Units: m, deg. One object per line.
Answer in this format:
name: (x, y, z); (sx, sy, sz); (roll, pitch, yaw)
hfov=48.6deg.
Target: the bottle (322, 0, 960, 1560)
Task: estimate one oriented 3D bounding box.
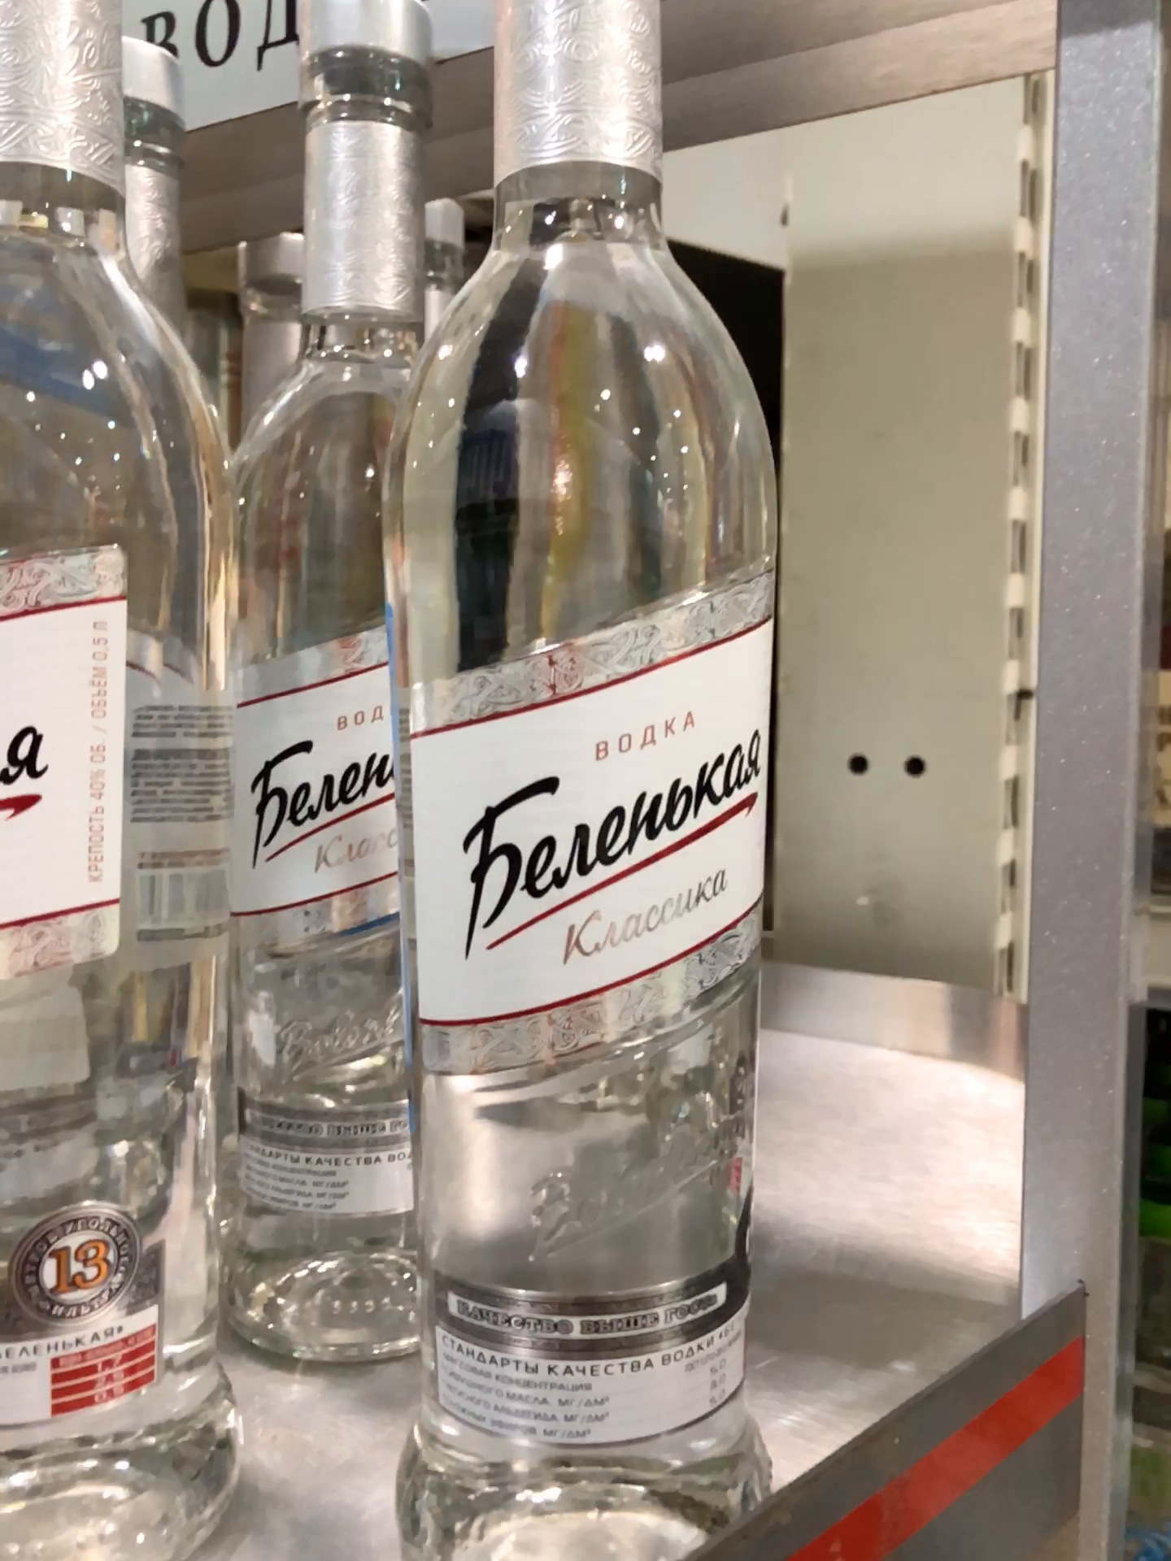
bottle: (0.002, -0.027, 0.214); (0.080, 0.310, 0.080); (0, 4, 0)
